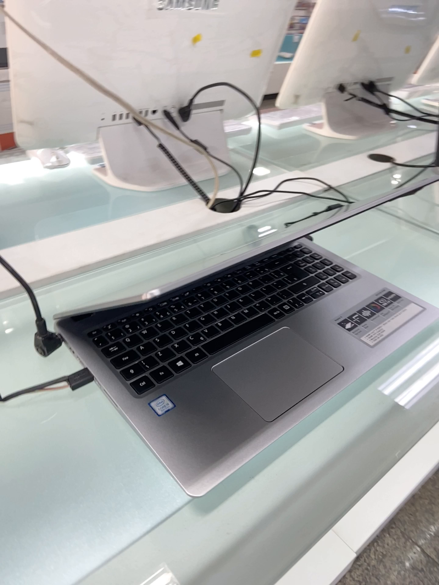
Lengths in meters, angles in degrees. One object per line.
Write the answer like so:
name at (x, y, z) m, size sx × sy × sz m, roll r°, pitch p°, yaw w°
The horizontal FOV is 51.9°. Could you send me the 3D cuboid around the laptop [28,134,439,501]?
laptop at (0.048, -0.031, 0.445) m, size 0.361 × 0.138 × 0.236 m, roll -24°, pitch 44°, yaw -34°
